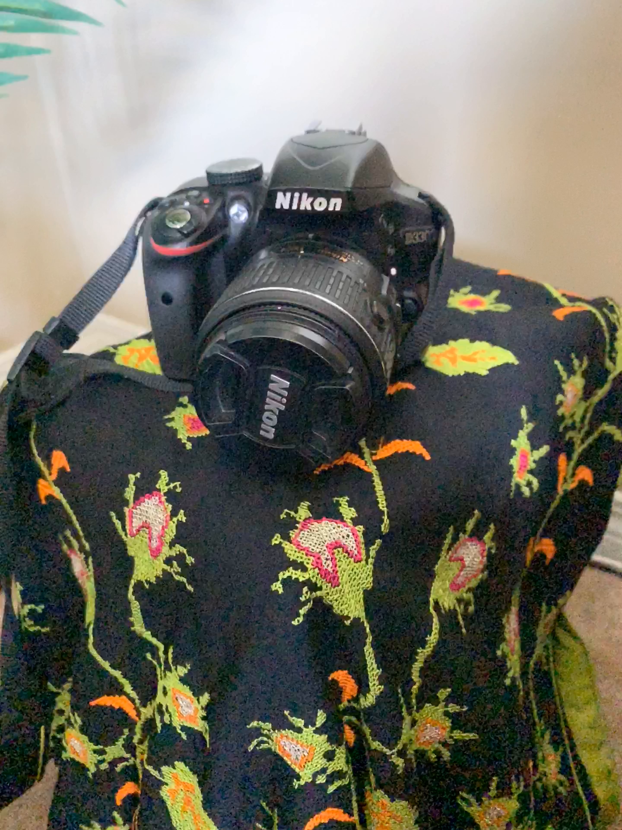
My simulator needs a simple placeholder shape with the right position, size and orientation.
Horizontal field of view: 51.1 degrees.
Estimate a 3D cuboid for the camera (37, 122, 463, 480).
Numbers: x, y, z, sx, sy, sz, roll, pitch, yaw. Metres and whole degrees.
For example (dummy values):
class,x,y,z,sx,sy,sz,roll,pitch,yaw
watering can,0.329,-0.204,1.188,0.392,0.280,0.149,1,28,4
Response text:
class,x,y,z,sx,sy,sz,roll,pitch,yaw
camera,-0.011,-0.047,0.243,0.120,0.099,0.091,3,33,8
